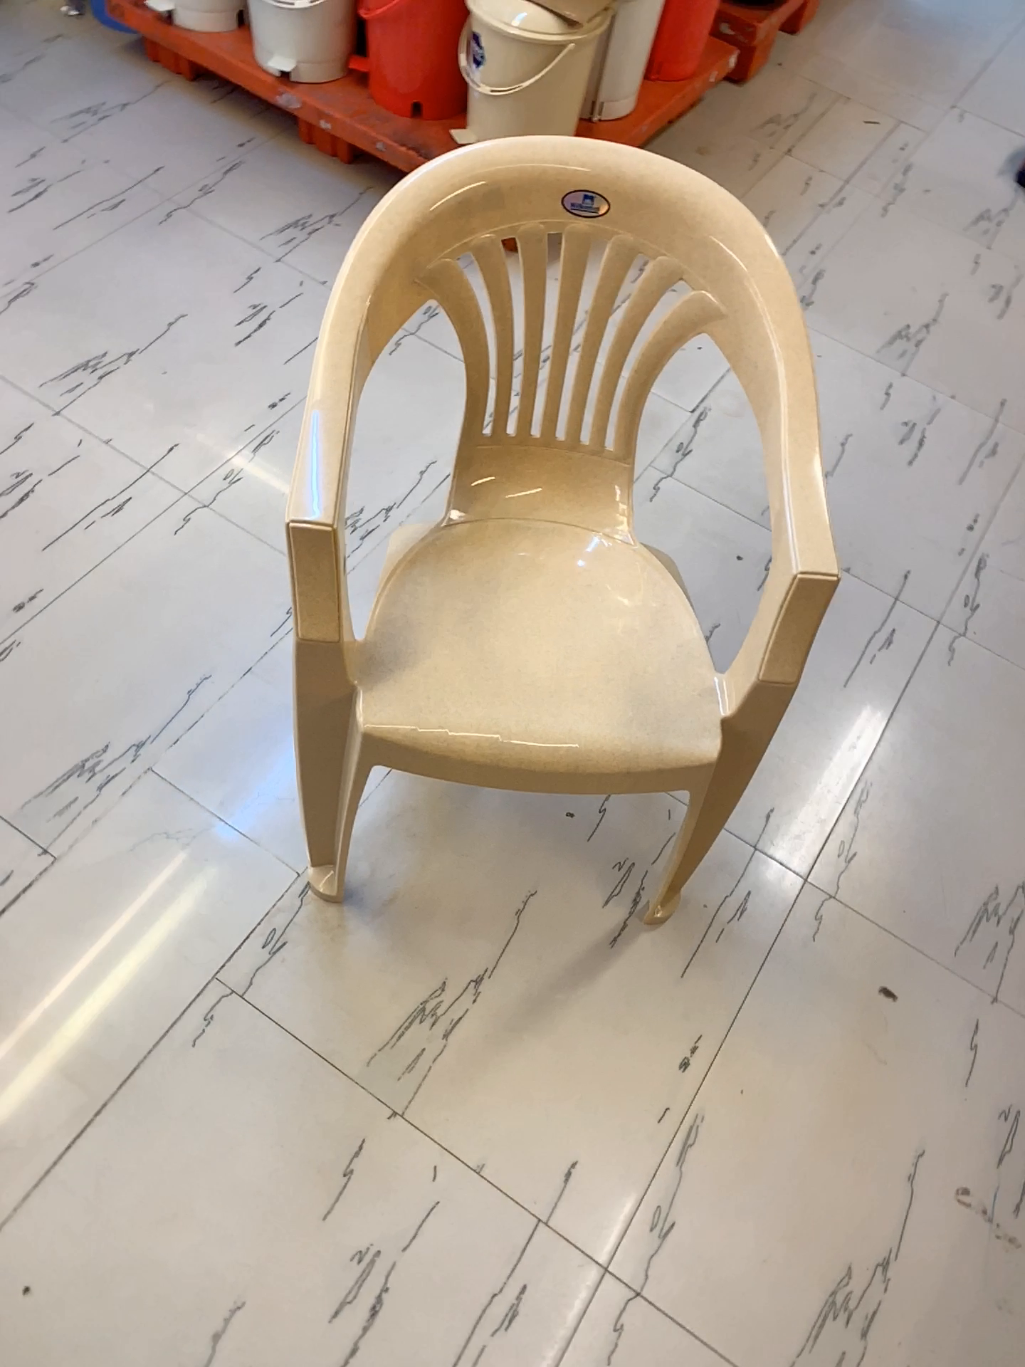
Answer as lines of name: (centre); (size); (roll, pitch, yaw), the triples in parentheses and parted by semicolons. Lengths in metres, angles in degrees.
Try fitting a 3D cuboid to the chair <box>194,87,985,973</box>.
chair: (0.029, -0.114, 1.226); (0.570, 0.745, 0.634); (6, 56, -5)
